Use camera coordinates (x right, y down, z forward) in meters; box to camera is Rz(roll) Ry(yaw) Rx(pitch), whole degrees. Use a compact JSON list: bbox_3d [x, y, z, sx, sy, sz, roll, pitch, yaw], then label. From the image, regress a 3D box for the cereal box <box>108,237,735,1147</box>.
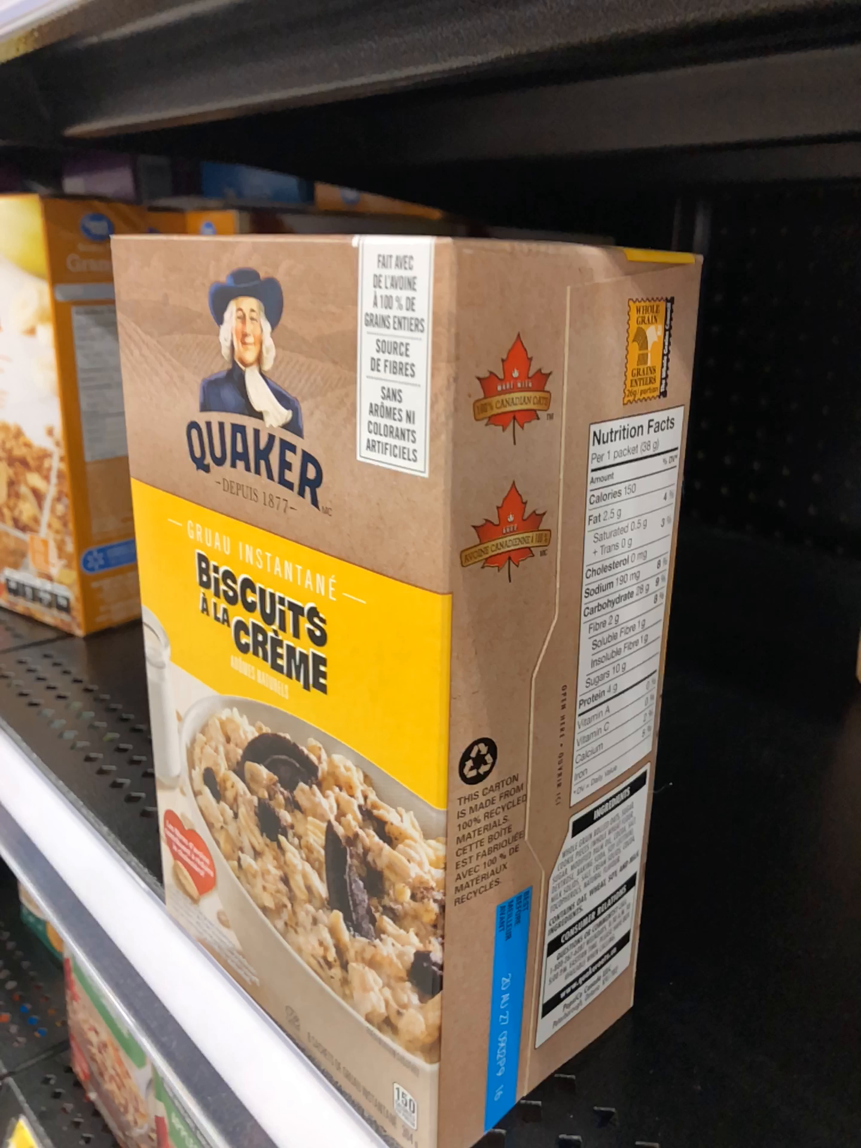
[{"bbox_3d":[-0.010,0.017,0.242,0.080,0.189,0.120,-14,23,-39],"label":"cereal box"}]
